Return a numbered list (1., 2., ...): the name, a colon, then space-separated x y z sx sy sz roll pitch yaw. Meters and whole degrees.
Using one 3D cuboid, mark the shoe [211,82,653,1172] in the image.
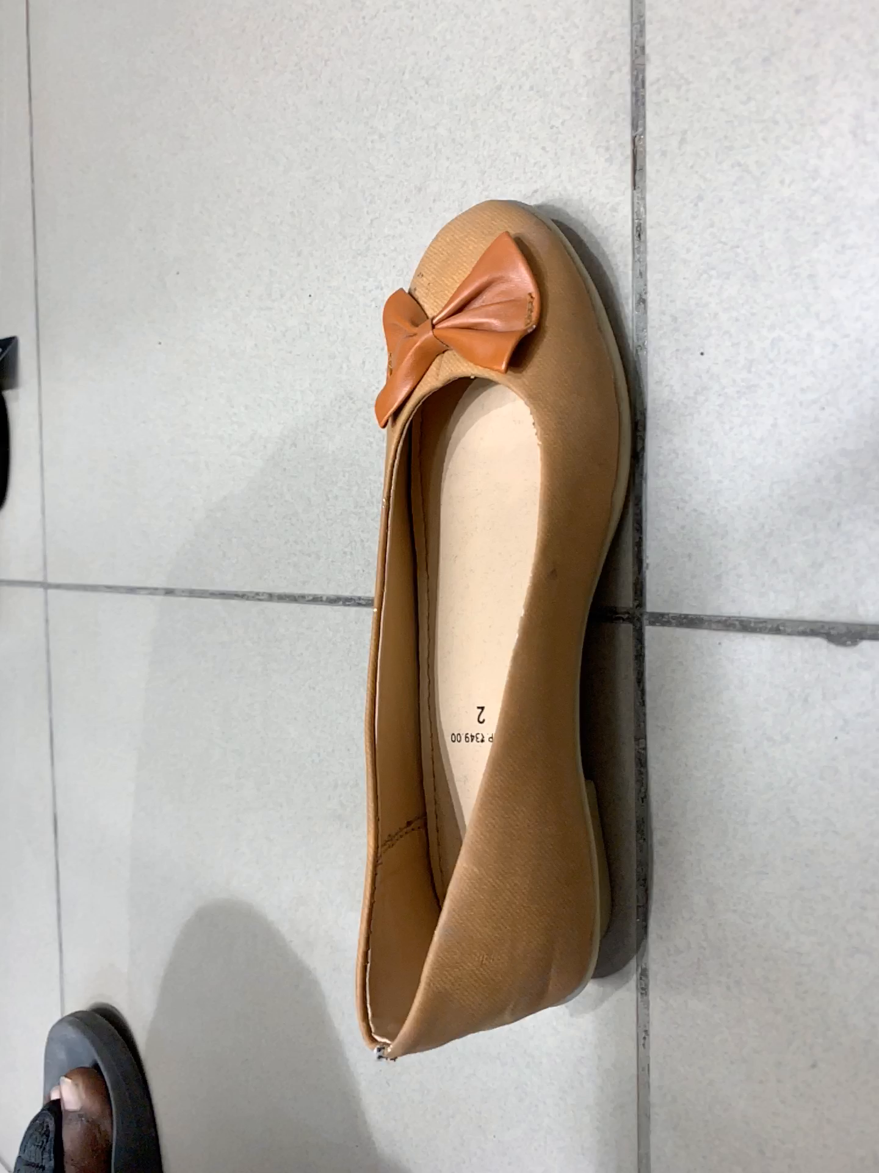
1. shoe: -0.002 0.011 0.232 0.080 0.070 0.220 0 92 46
